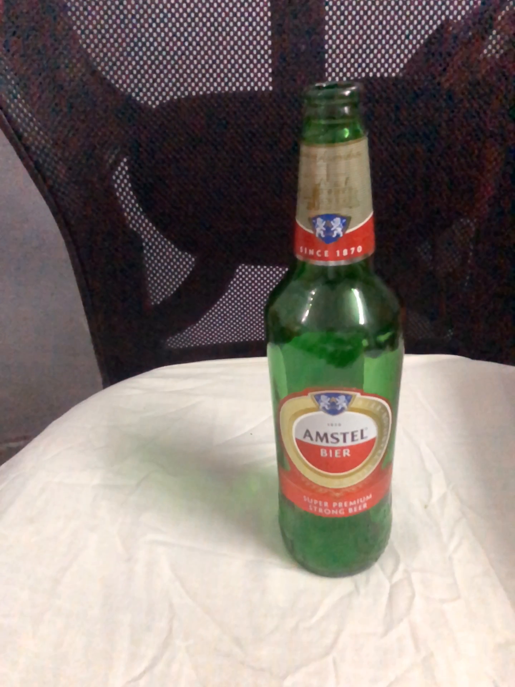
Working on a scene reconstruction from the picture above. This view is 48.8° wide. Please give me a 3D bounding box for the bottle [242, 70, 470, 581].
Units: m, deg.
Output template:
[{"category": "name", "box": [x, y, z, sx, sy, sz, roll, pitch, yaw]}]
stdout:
[{"category": "bottle", "box": [0.040, 0.013, 0.302, 0.080, 0.279, 0.060, 0, 33, 3]}]
